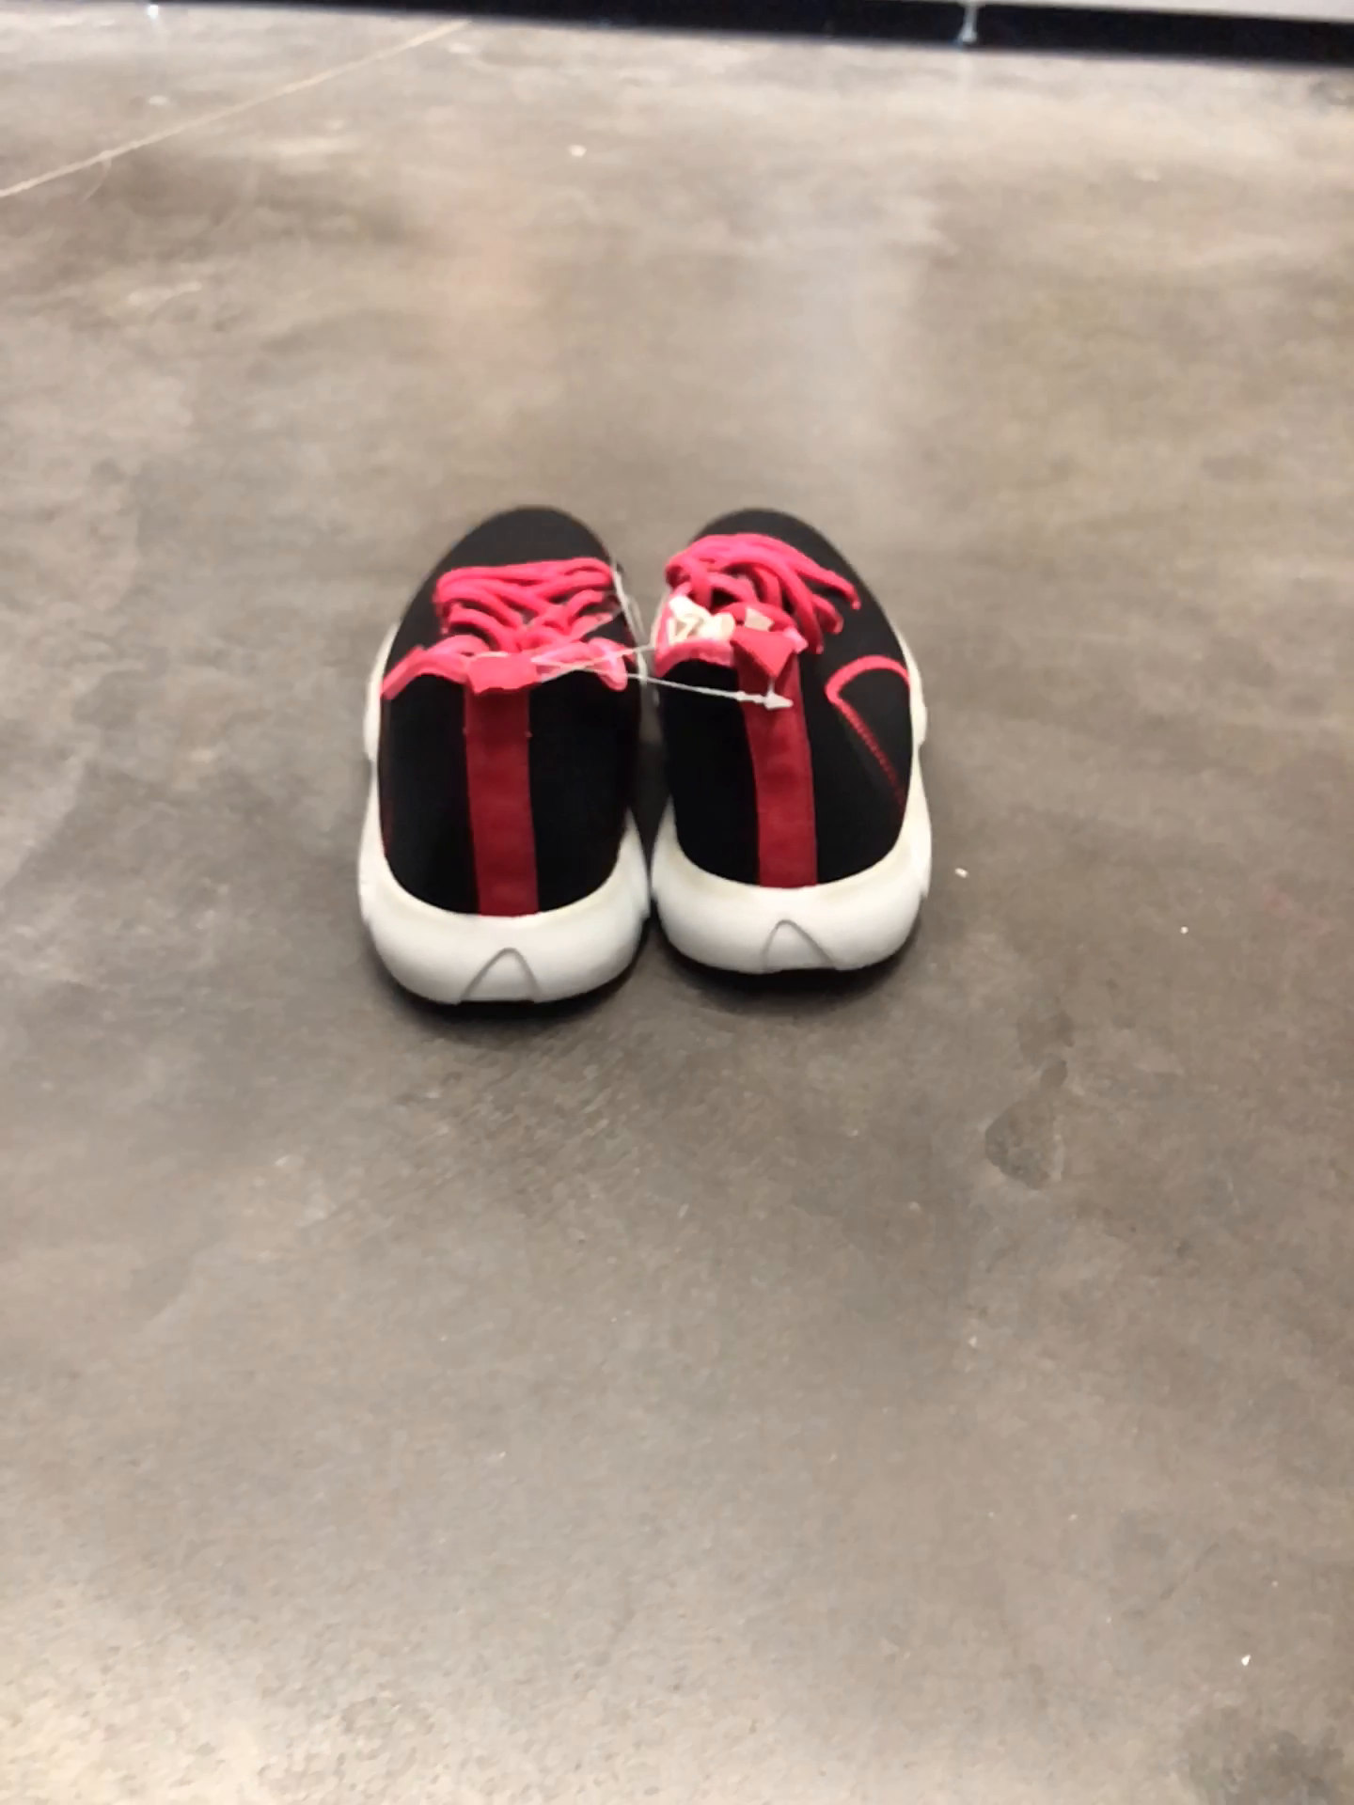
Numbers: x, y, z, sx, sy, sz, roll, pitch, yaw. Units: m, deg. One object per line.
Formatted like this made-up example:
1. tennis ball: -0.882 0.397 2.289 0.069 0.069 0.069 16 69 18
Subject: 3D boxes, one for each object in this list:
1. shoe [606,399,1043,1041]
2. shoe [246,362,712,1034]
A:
1. shoe: 0.035 -0.070 0.462 0.100 0.089 0.231 1 38 0
2. shoe: -0.052 -0.076 0.443 0.100 0.089 0.231 -3 38 -4
